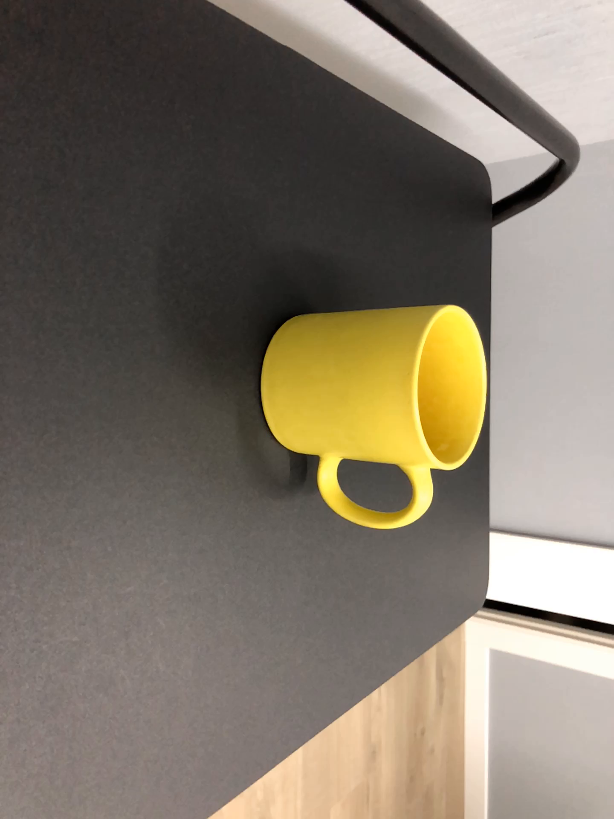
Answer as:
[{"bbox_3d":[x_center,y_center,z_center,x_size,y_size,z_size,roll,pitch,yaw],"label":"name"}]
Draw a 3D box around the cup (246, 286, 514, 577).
[{"bbox_3d":[0.043,0.004,0.365,0.090,0.101,0.125,-21,108,-51],"label":"cup"}]
